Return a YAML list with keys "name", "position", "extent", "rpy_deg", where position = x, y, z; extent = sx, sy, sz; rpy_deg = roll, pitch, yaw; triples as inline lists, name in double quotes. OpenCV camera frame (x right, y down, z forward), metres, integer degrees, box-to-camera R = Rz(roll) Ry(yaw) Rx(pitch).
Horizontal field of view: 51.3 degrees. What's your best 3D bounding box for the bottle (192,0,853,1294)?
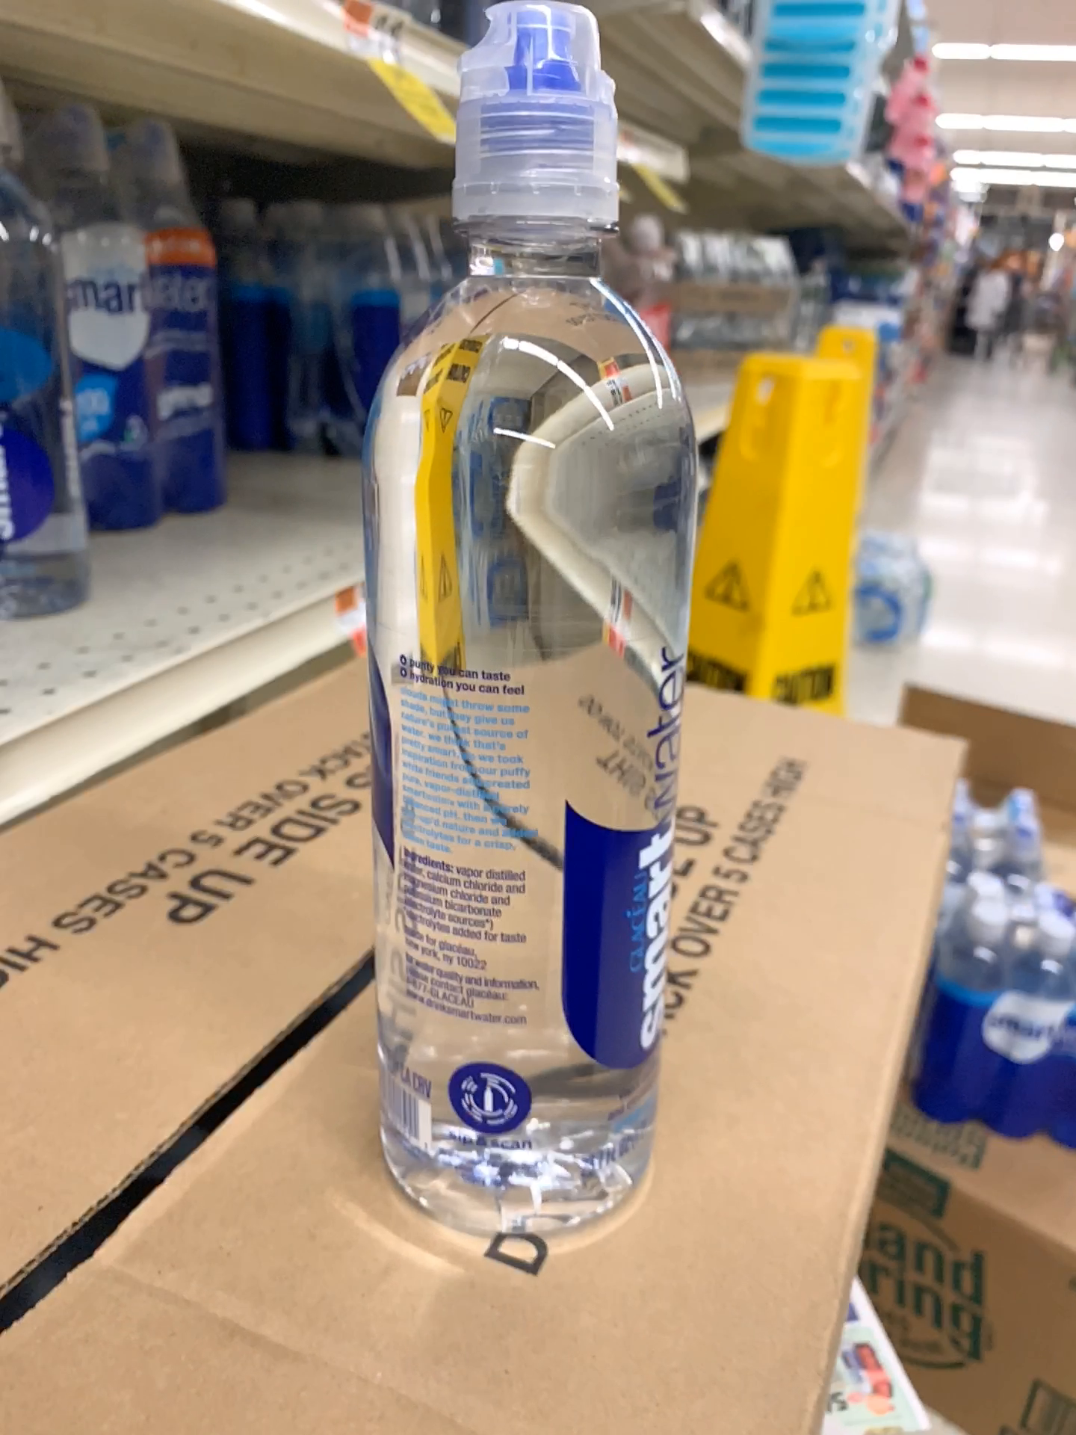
- name: "bottle"
  position: [-0.006, -0.016, 0.252]
  extent: [0.090, 0.249, 0.090]
  rpy_deg: [4, 21, -1]
